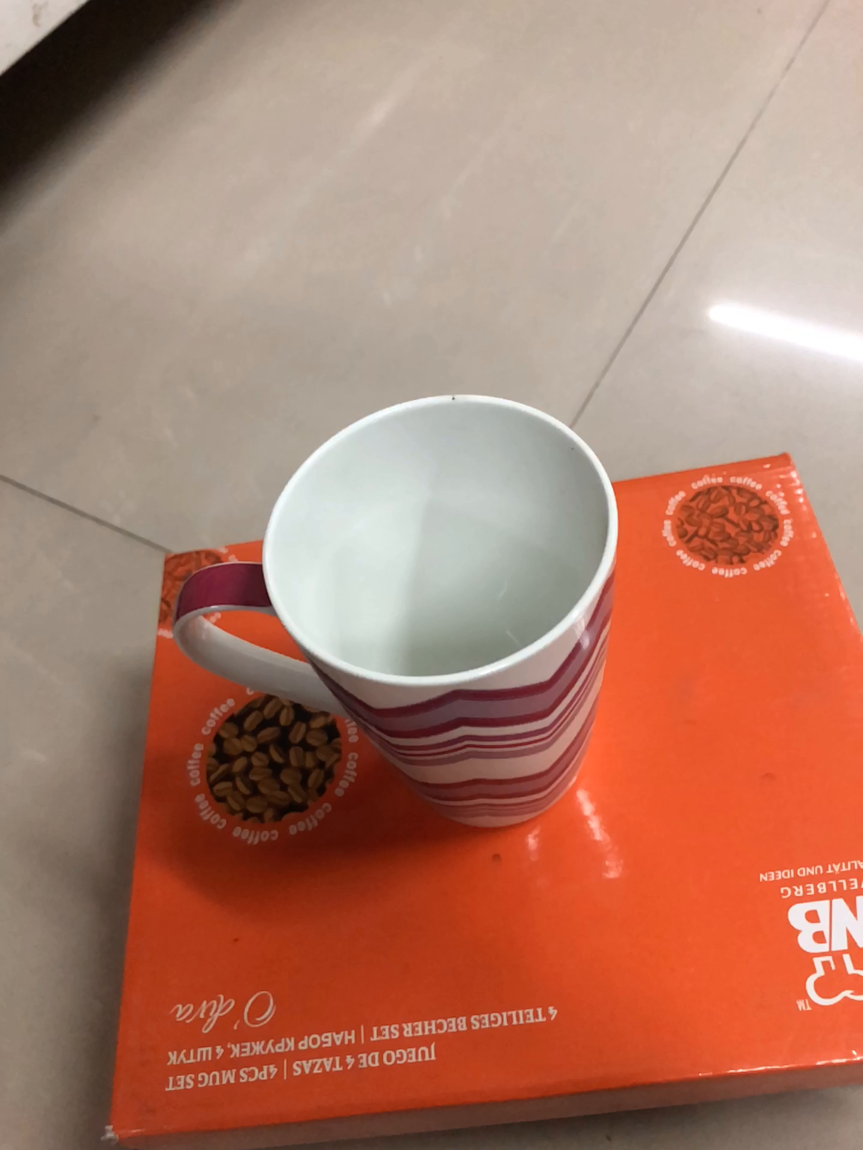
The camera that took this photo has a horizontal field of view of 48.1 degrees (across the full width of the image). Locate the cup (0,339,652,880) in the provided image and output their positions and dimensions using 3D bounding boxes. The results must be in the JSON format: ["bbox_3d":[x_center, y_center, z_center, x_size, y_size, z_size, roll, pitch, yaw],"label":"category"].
[{"bbox_3d":[-0.015,0.018,0.253,0.130,0.109,0.090,-4,57,9],"label":"cup"}]
